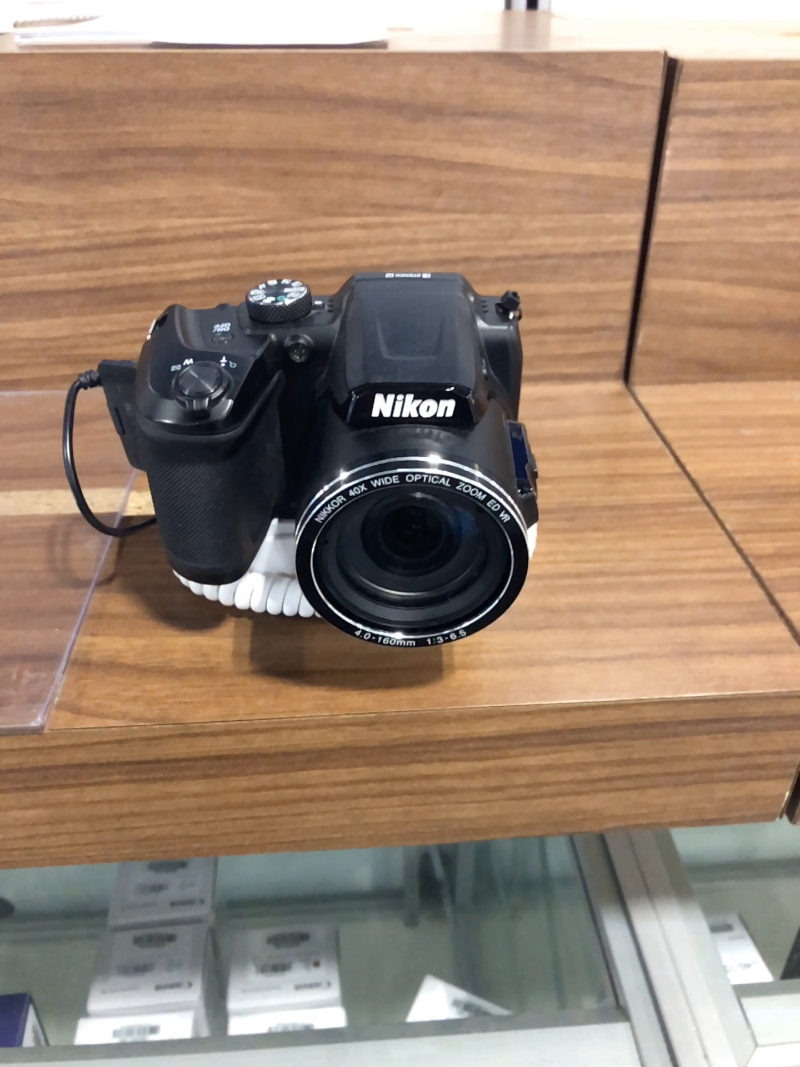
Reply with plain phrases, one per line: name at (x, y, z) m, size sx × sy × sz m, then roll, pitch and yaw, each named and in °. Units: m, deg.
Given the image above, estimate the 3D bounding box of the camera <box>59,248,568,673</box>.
camera at (-0.021, -0.028, 0.261) m, size 0.110 × 0.079 × 0.111 m, roll -1°, pitch 32°, yaw -2°
